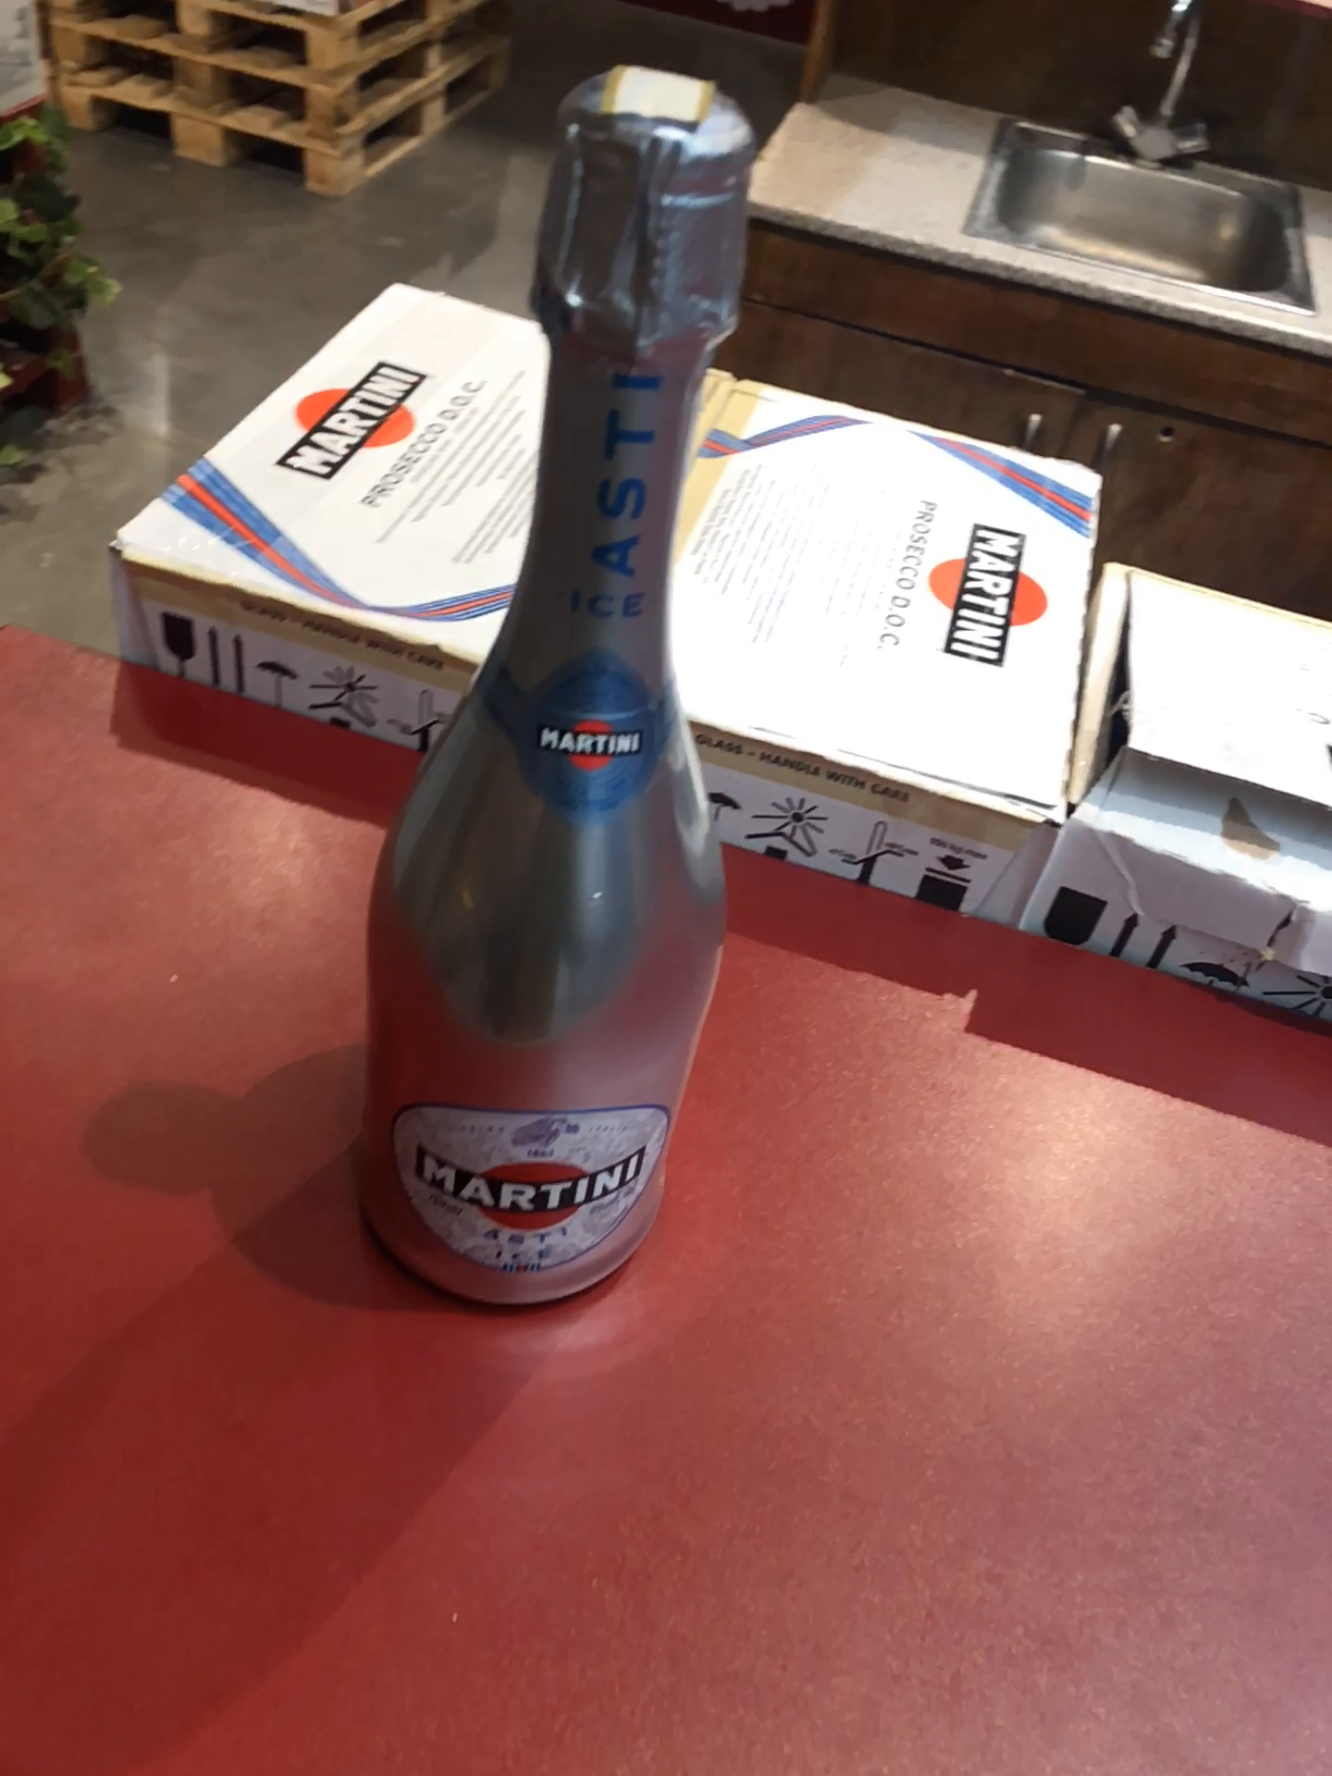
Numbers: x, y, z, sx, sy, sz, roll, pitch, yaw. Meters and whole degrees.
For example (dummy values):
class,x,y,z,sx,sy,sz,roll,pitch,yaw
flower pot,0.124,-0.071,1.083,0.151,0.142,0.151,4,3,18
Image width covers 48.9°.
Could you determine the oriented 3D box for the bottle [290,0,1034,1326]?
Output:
class,x,y,z,sx,sy,sz,roll,pitch,yaw
bottle,-0.023,-0.022,0.333,0.100,0.298,0.101,6,44,-6
